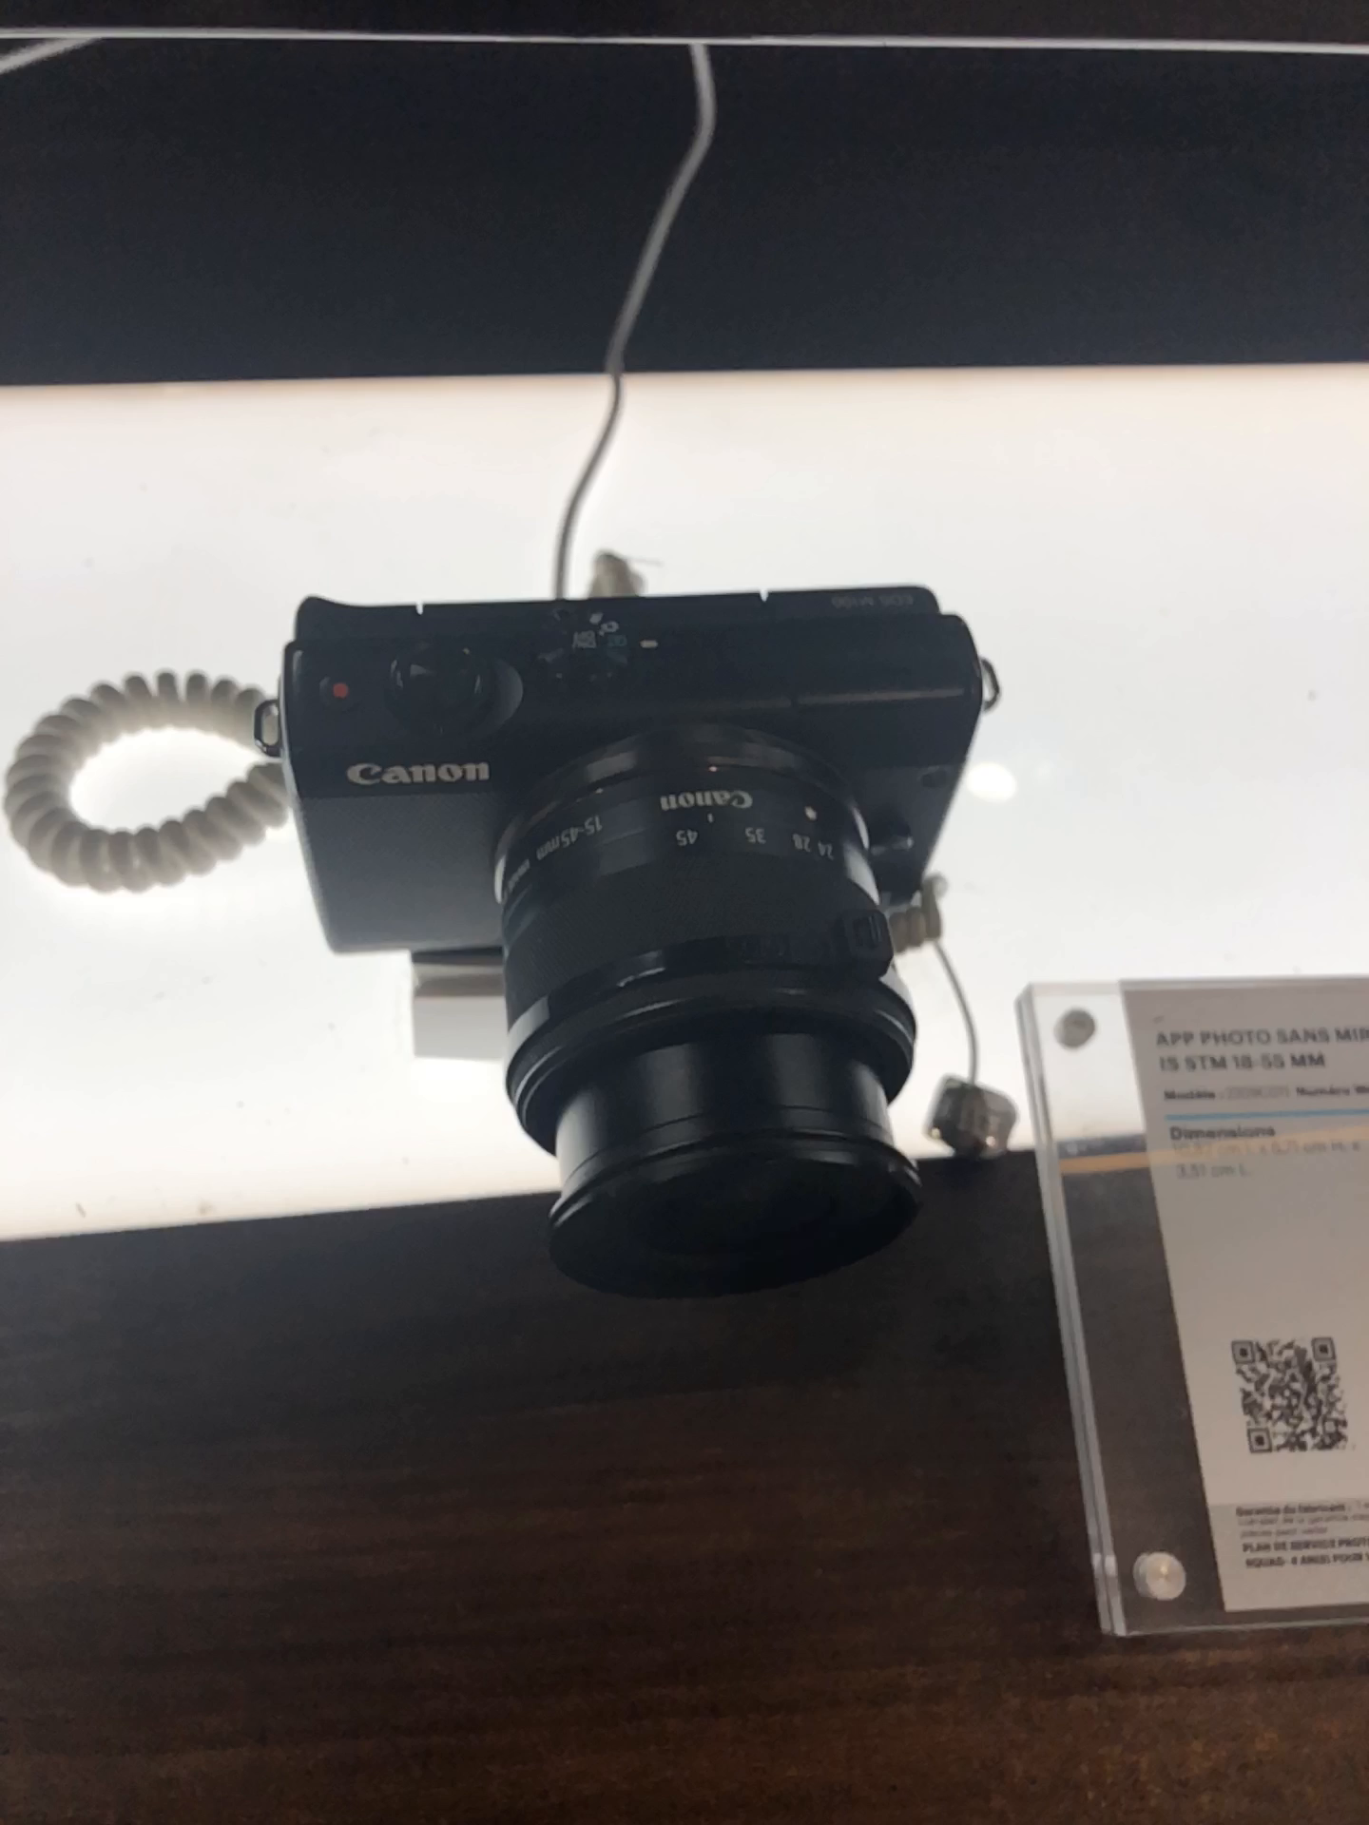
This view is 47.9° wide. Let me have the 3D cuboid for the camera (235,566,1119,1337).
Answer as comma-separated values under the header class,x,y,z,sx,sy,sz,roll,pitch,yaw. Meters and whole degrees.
class,x,y,z,sx,sy,sz,roll,pitch,yaw
camera,-0.007,0.004,0.250,0.112,0.071,0.094,-4,52,-7
